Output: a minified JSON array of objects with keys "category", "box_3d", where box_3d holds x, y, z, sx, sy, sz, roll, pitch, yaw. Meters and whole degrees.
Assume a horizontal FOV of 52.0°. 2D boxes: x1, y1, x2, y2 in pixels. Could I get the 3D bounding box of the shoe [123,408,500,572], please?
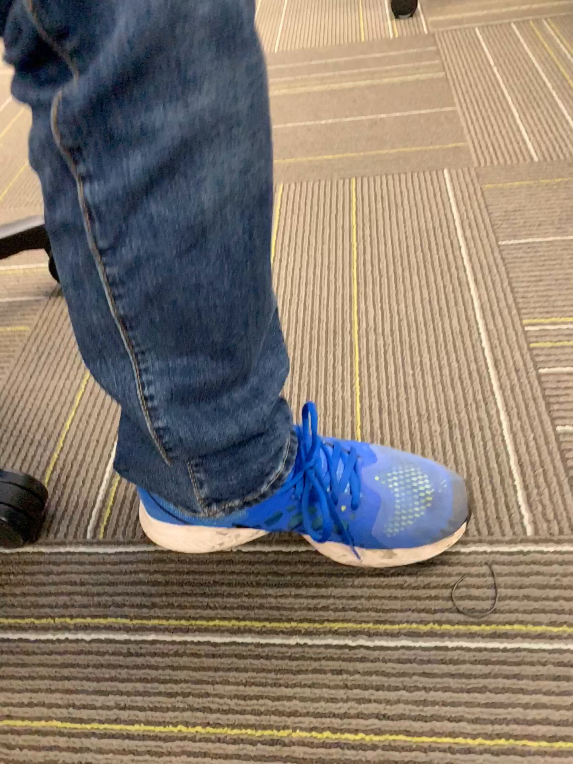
[{"category":"shoe","box_3d":[0.022,0.088,0.503,0.284,0.086,0.101,0,47,10]}]
